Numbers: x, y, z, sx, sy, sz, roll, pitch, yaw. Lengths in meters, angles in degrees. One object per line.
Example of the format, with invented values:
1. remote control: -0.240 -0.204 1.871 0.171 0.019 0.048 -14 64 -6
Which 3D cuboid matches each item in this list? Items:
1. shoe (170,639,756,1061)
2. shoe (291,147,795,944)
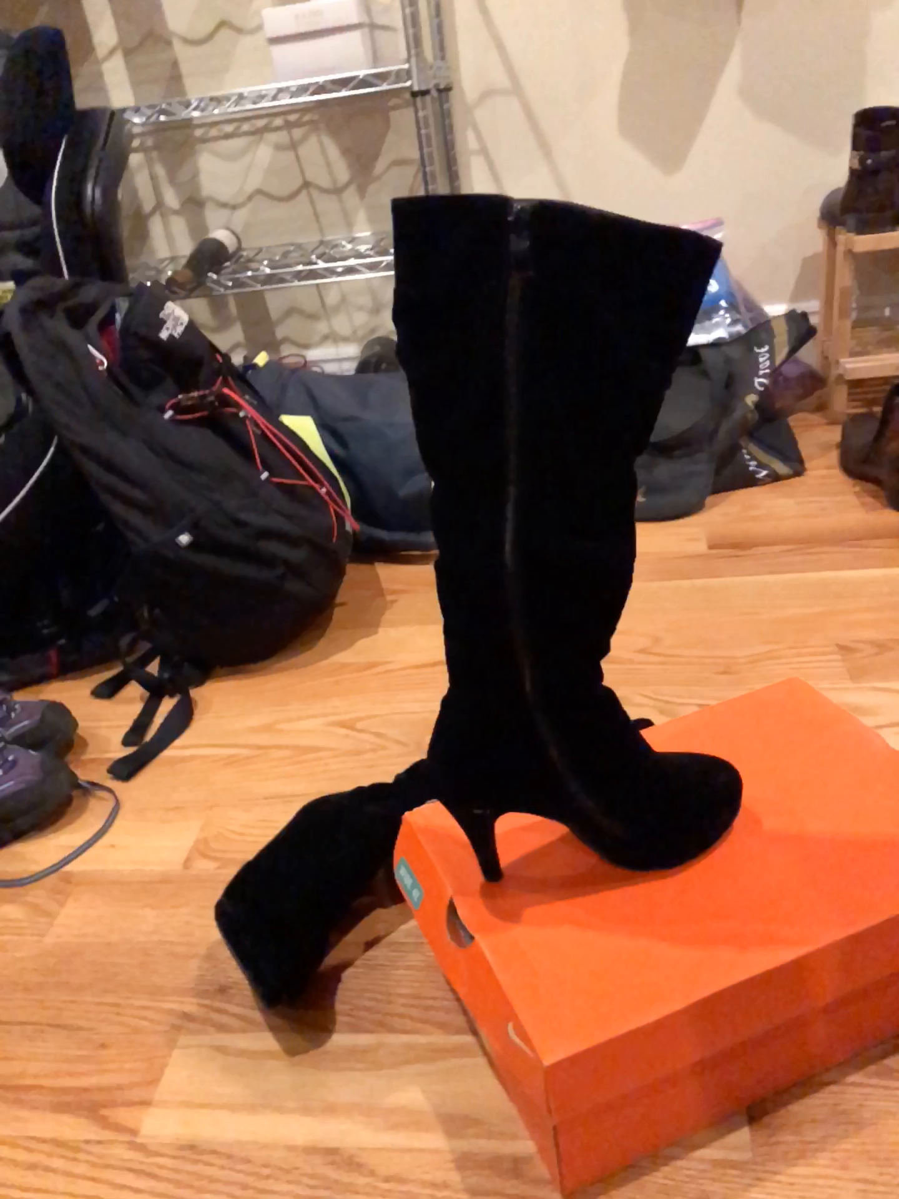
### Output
1. shoe: 0.006 0.167 0.764 0.399 0.089 0.207 -17 27 -16
2. shoe: 0.063 -0.018 0.547 0.216 0.397 0.090 -14 27 -12
